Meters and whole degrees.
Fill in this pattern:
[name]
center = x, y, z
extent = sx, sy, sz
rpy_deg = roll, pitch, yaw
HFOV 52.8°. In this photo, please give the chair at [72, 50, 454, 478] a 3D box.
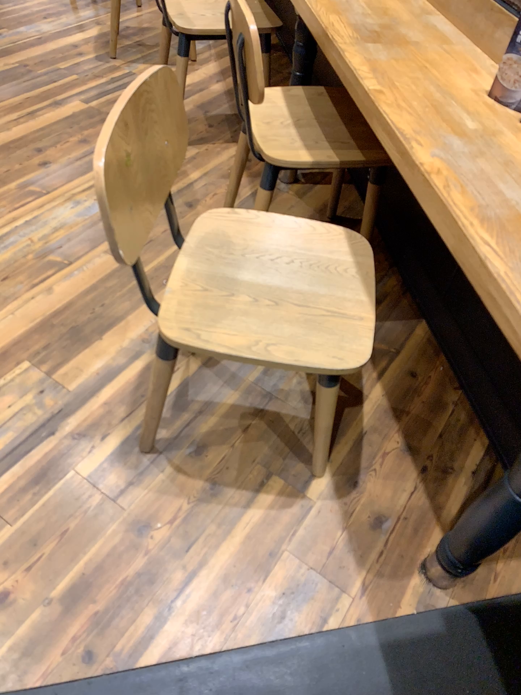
[chair]
center = 0.005, -0.129, 1.069
extent = 0.500, 0.684, 0.414
rpy_deg = 9, 48, 3
